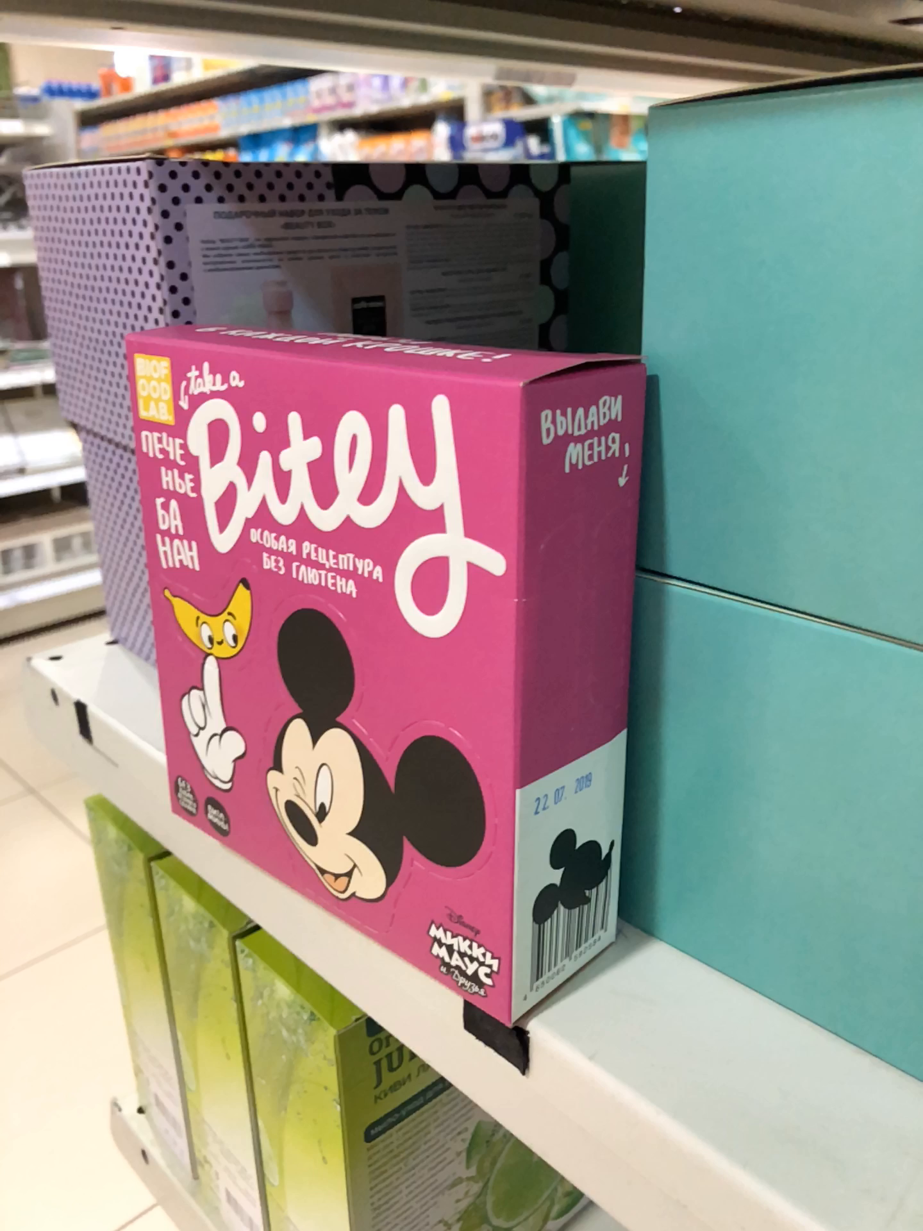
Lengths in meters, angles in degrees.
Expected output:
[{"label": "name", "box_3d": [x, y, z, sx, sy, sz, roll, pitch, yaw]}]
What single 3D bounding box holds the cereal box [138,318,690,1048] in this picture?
[{"label": "cereal box", "box_3d": [-0.019, 0.006, 0.263, 0.140, 0.149, 0.040, 17, 26, 39]}]
